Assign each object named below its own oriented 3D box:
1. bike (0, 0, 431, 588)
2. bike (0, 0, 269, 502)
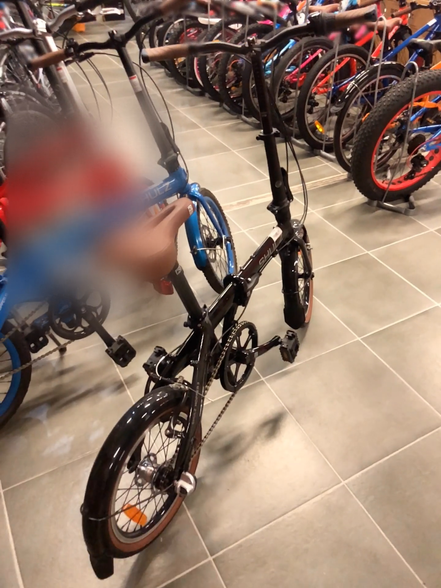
[{"bbox_3d":[0.003,-0.110,1.277,0.565,1.057,1.279,19,42,20],"label":"bike"},{"bbox_3d":[-0.503,-0.279,1.524,0.568,1.029,1.378,27,43,28],"label":"bike"}]
